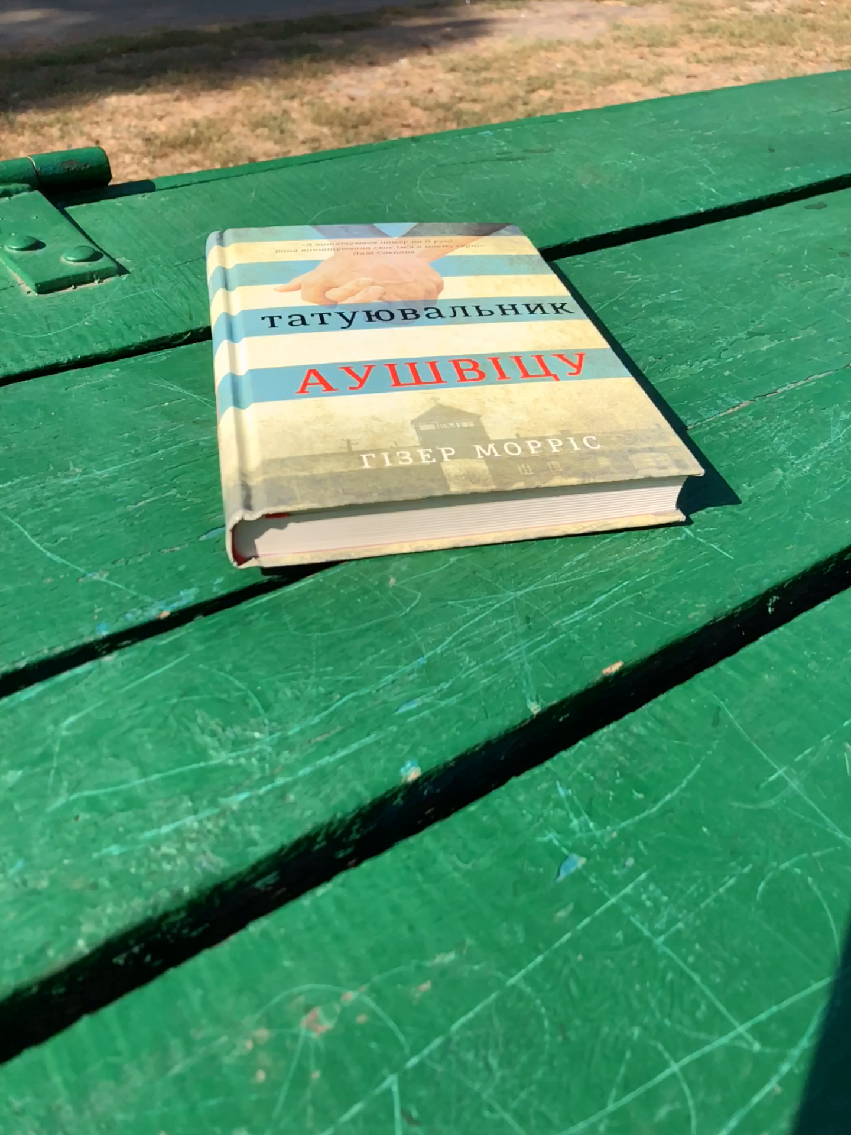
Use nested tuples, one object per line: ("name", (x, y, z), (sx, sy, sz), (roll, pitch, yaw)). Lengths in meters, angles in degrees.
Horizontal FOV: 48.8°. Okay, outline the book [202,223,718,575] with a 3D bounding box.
("book", (-0.006, -0.080, 0.353), (0.147, 0.020, 0.214), (-5, 41, -11))
